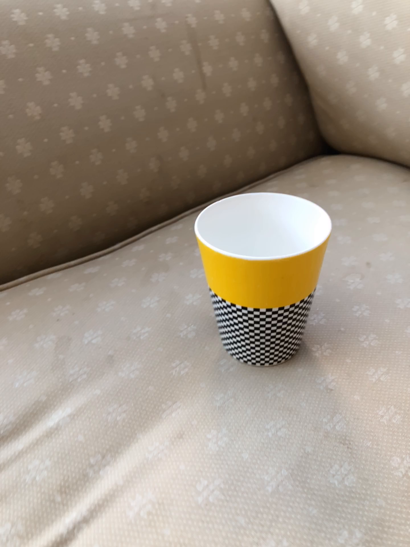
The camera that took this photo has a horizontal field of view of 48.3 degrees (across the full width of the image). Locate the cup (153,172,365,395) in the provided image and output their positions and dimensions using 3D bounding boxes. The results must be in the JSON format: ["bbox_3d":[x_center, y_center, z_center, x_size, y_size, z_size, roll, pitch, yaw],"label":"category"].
[{"bbox_3d":[0.033,-0.001,0.323,0.088,0.090,0.112,-22,39,-23],"label":"cup"}]
